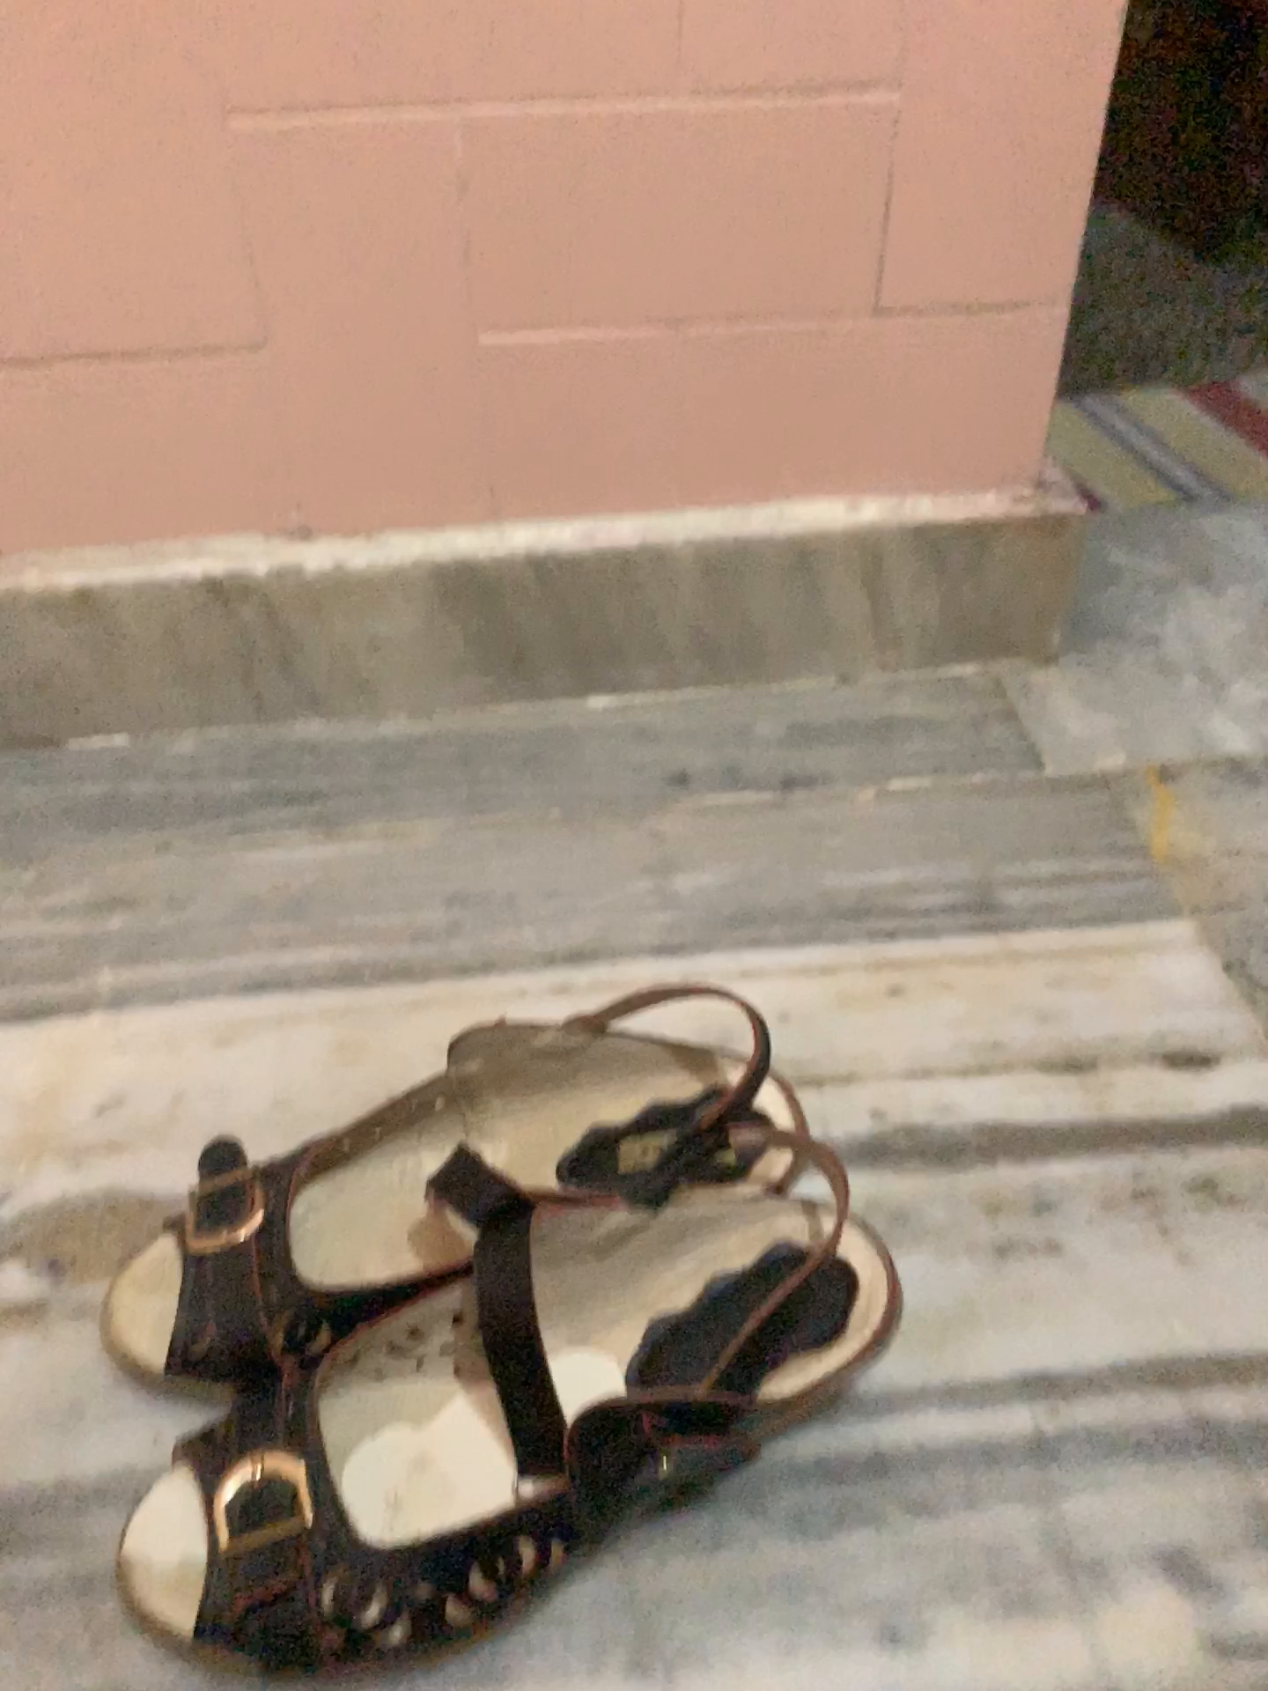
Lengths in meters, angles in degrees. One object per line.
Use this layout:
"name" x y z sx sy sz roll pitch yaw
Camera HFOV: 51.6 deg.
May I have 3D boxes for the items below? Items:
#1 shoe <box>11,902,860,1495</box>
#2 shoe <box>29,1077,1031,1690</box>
"shoe" -0.065 0.117 0.464 0.260 0.100 0.100 -12 41 -13
"shoe" -0.030 0.172 0.398 0.260 0.100 0.100 -12 41 -13
